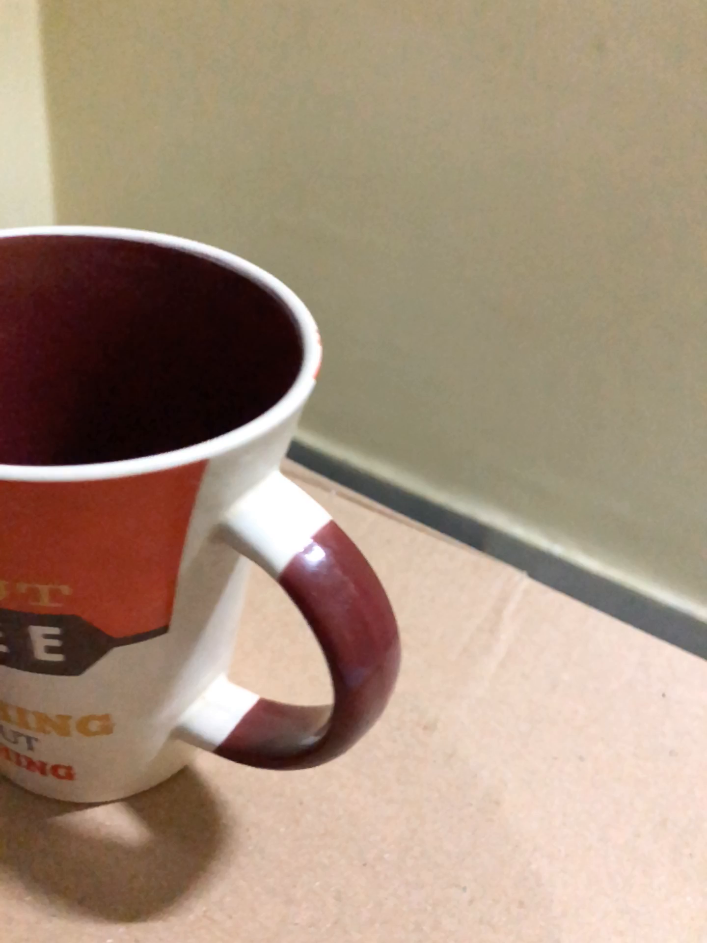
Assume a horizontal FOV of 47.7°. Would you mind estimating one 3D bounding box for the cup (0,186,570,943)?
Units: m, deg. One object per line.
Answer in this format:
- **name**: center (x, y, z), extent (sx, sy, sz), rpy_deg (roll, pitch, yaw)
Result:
- **cup**: center (-0.043, 0.014, 0.184), extent (0.130, 0.109, 0.101), rpy_deg (25, 37, 24)
